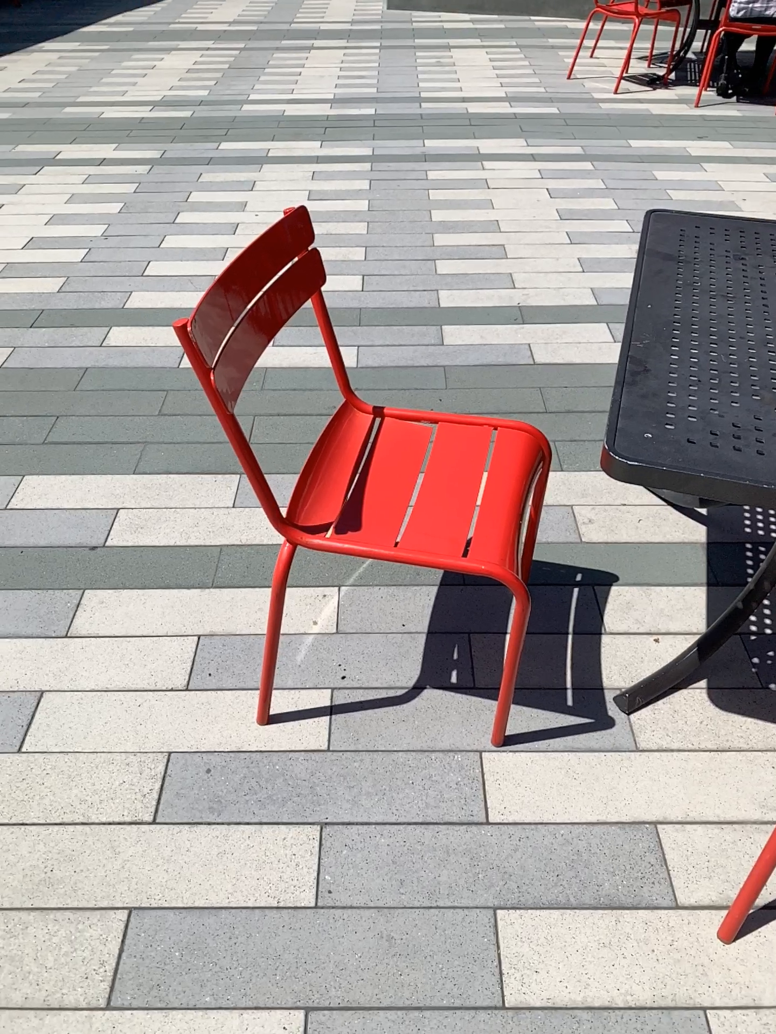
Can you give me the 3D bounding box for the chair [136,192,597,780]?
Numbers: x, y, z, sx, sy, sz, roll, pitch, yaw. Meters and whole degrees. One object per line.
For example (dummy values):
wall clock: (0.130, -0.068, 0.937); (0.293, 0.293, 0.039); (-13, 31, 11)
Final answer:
chair: (0.014, -0.055, 1.480); (0.580, 0.845, 0.583); (8, 41, 9)
